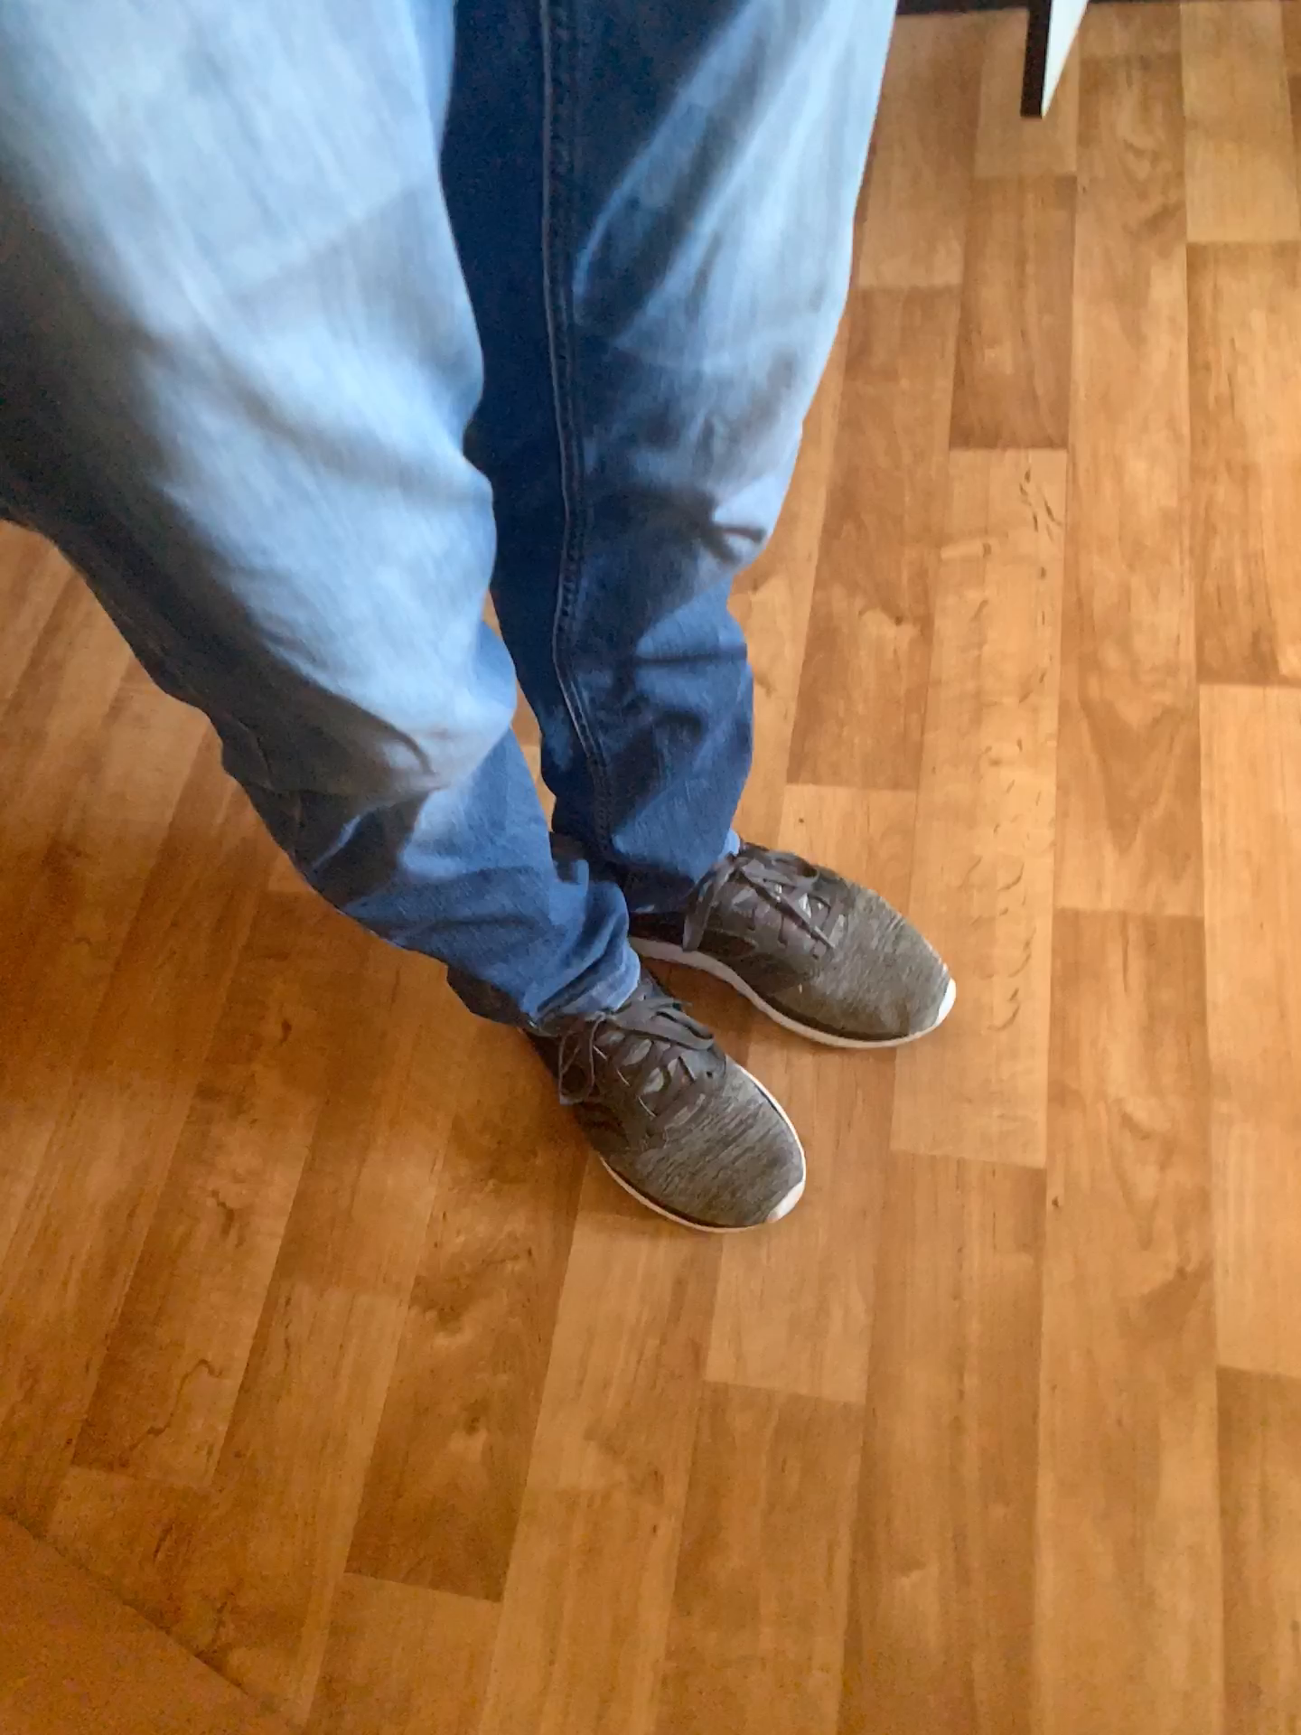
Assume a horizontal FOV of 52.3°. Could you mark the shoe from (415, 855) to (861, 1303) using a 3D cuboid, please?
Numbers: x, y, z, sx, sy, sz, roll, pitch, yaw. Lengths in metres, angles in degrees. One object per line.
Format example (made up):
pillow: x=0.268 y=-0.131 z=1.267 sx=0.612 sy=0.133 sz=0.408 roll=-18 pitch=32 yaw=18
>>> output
shoe: x=-0.009 y=0.136 z=0.886 sx=0.281 sy=0.100 sz=0.124 roll=38 pitch=73 yaw=26

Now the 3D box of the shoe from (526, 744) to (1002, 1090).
shoe: x=0.080 y=0.031 z=0.932 sx=0.290 sy=0.100 sz=0.134 roll=17 pitch=65 yaw=18
